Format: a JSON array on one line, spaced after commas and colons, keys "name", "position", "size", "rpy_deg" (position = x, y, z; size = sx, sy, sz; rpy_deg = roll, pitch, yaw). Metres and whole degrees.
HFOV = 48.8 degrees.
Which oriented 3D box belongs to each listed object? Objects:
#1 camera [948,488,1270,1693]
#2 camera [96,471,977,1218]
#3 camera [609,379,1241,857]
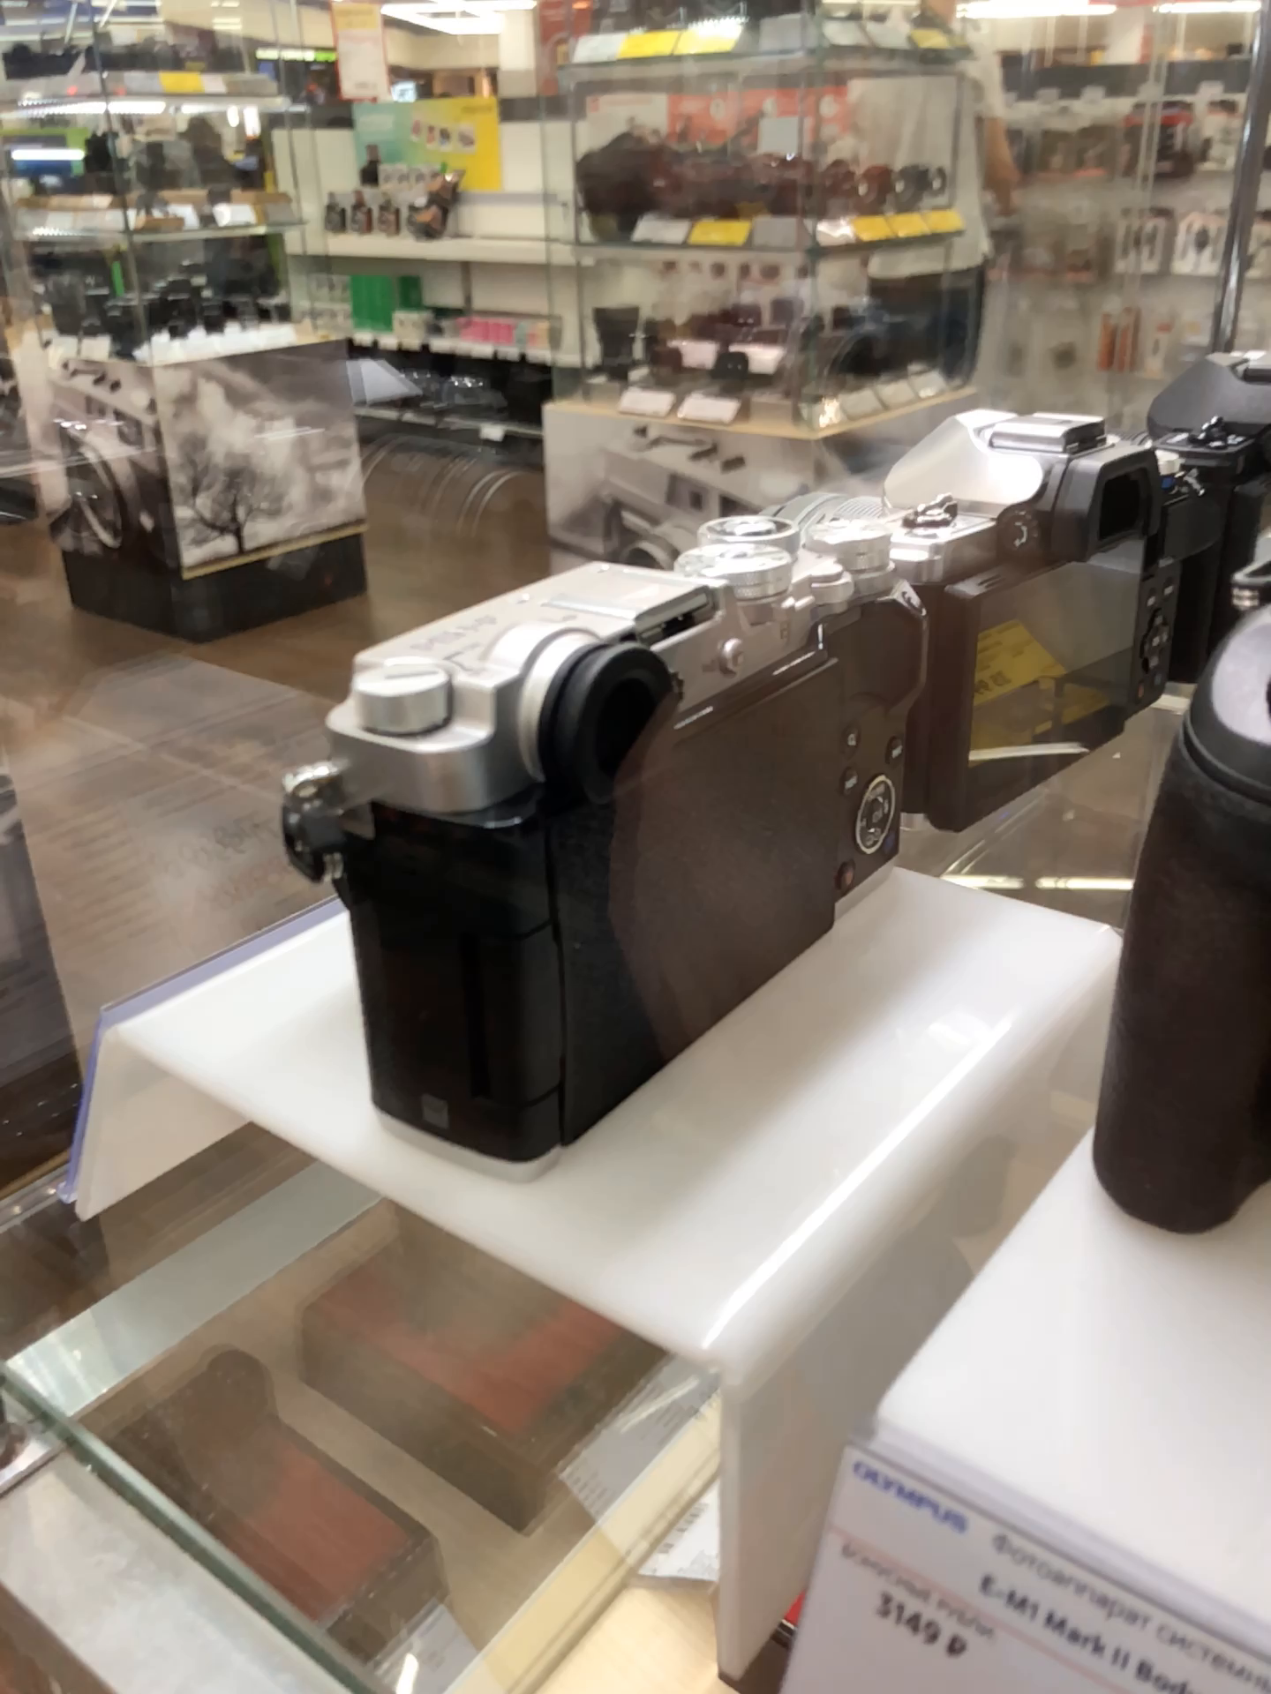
[{"name": "camera", "position": [0.116, 0.011, 0.162], "size": [0.127, 0.075, 0.084], "rpy_deg": [18, 31, 34]}, {"name": "camera", "position": [-0.007, -0.014, 0.239], "size": [0.076, 0.070, 0.128], "rpy_deg": [17, 31, 33]}, {"name": "camera", "position": [0.073, -0.067, 0.349], "size": [0.099, 0.075, 0.128], "rpy_deg": [18, 32, 35]}]
